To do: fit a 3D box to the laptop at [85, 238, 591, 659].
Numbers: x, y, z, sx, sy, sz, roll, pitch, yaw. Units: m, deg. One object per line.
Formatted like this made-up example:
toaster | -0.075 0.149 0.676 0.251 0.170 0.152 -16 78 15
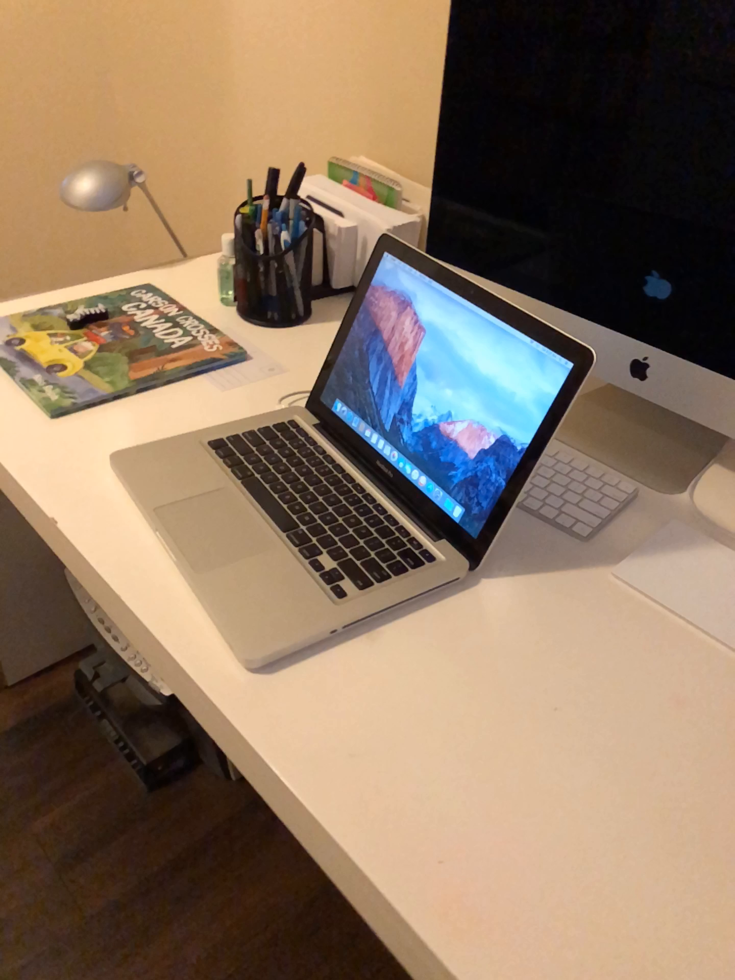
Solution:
laptop | -0.039 -0.068 0.729 0.312 0.187 0.304 -19 42 -27
